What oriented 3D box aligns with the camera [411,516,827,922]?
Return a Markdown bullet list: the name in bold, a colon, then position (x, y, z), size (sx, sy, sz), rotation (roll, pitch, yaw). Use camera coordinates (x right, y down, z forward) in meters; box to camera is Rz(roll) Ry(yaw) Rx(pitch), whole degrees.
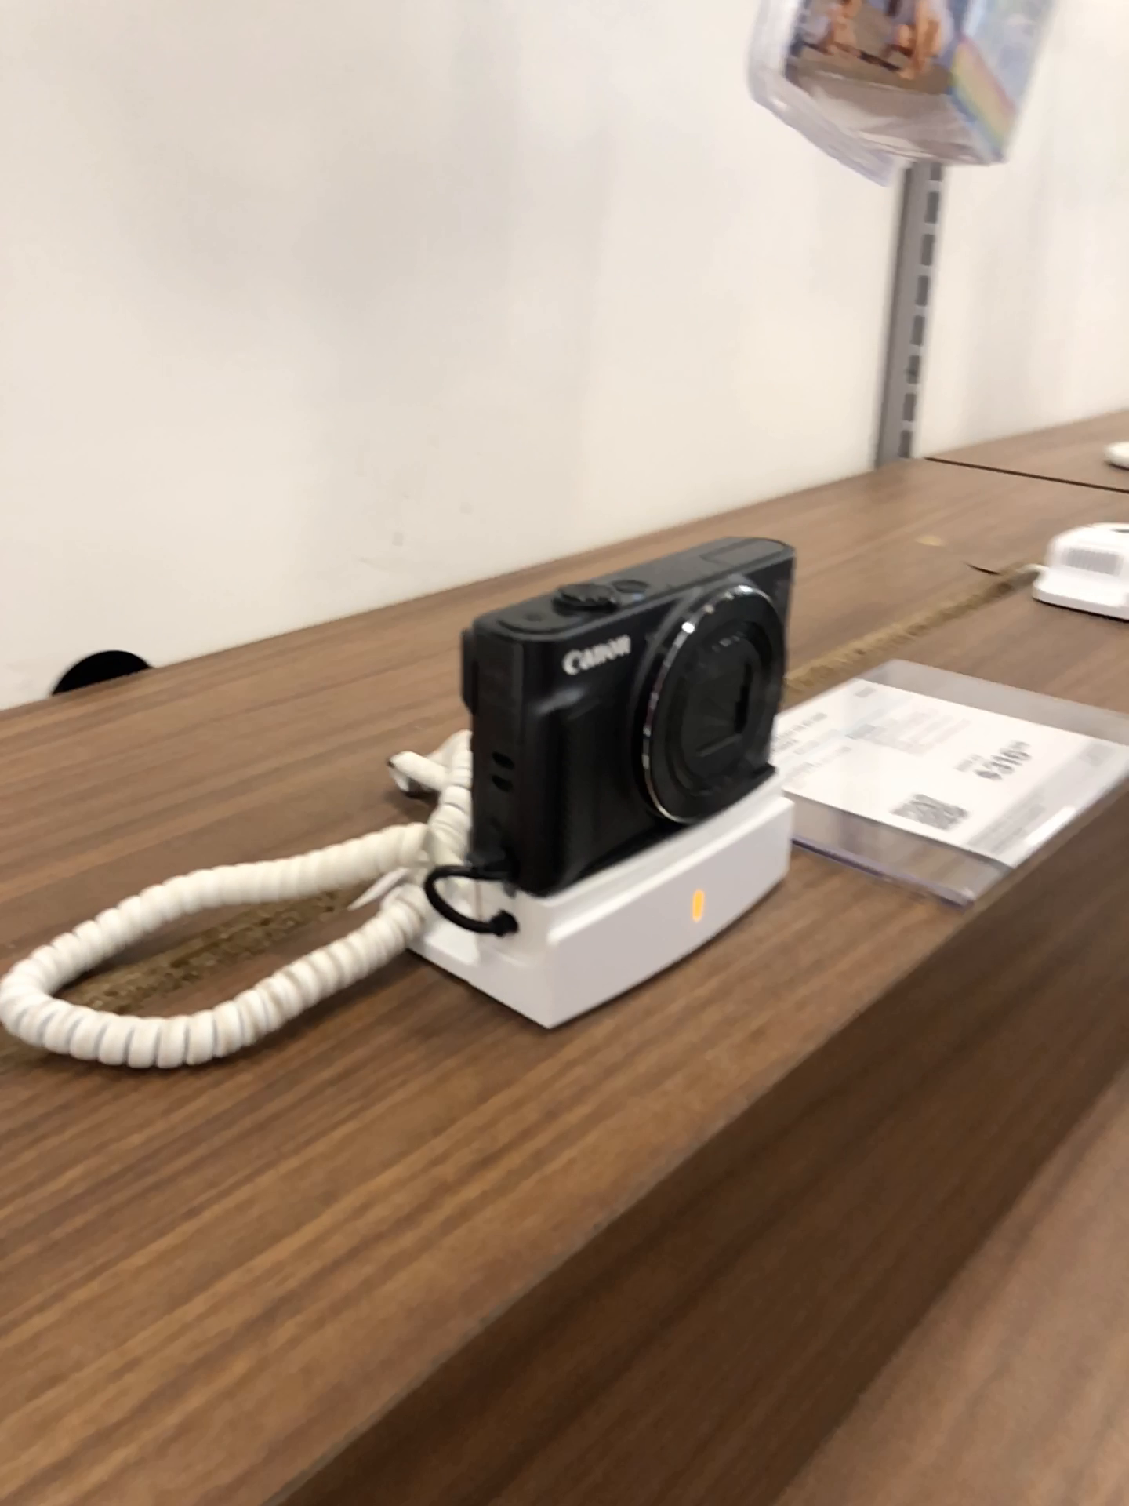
- **camera**: position (0.016, -0.013, 0.275), size (0.030, 0.060, 0.100), rotation (19, 29, 39)
